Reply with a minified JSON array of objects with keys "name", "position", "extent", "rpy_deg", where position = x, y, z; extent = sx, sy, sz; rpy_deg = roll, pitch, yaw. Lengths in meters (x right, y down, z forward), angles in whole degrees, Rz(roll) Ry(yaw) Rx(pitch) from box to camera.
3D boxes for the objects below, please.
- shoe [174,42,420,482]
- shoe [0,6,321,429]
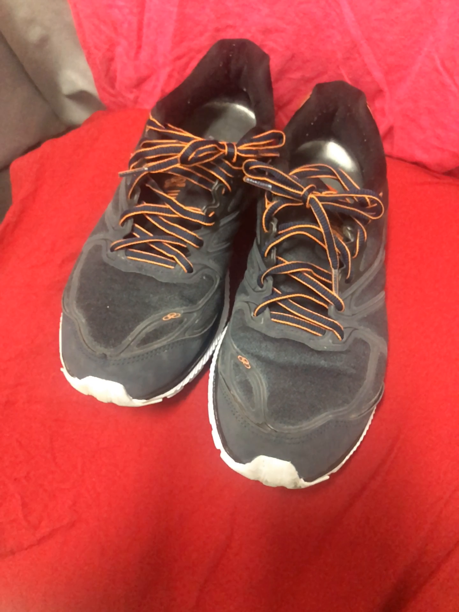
[{"name":"shoe","position":[0.051,-0.047,0.344],"extent":[0.110,0.099,0.282],"rpy_deg":[11,56,2]},{"name":"shoe","position":[-0.031,-0.079,0.343],"extent":[0.110,0.089,0.282],"rpy_deg":[18,56,6]}]
